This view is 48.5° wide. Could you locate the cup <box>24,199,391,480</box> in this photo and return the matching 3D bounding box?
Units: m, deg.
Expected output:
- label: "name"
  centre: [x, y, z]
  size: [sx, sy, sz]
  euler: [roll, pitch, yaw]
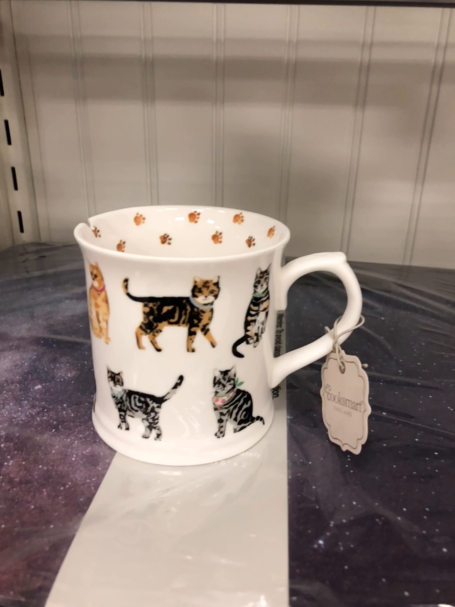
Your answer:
- label: "cup"
  centre: [-0.007, 0.010, 0.251]
  size: [0.137, 0.099, 0.096]
  euler: [2, 23, 3]
